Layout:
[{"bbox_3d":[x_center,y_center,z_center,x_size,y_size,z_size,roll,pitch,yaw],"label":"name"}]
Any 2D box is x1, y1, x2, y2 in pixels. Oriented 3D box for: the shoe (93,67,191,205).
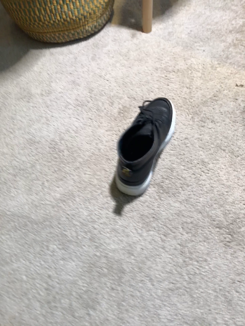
[{"bbox_3d":[0.052,-0.064,0.569,0.107,0.111,0.263,17,64,17],"label":"shoe"}]
